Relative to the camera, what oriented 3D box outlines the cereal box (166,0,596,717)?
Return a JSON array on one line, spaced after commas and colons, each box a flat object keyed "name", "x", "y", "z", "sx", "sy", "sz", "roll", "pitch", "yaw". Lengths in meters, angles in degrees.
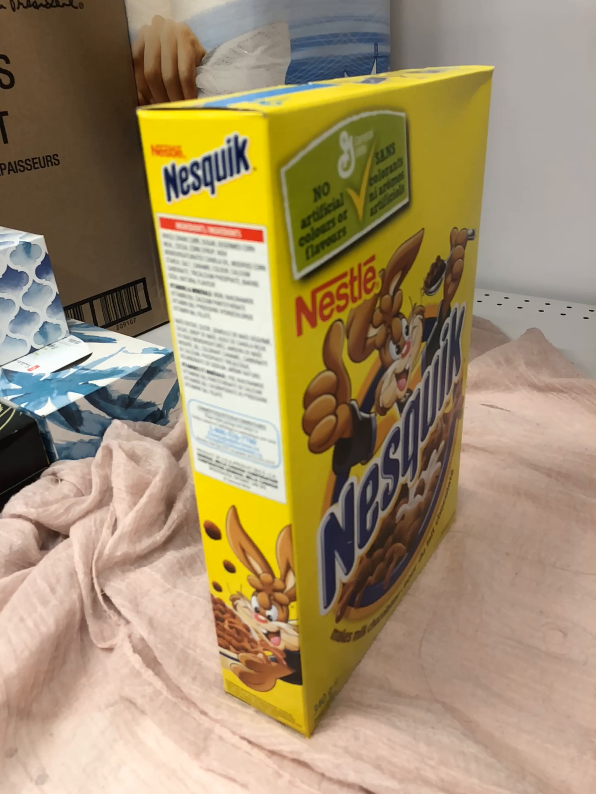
[{"name": "cereal box", "x": 0.053, "y": -0.031, "z": 0.294, "sx": 0.060, "sy": 0.259, "sz": 0.200, "roll": 17, "pitch": 35, "yaw": 32}]
